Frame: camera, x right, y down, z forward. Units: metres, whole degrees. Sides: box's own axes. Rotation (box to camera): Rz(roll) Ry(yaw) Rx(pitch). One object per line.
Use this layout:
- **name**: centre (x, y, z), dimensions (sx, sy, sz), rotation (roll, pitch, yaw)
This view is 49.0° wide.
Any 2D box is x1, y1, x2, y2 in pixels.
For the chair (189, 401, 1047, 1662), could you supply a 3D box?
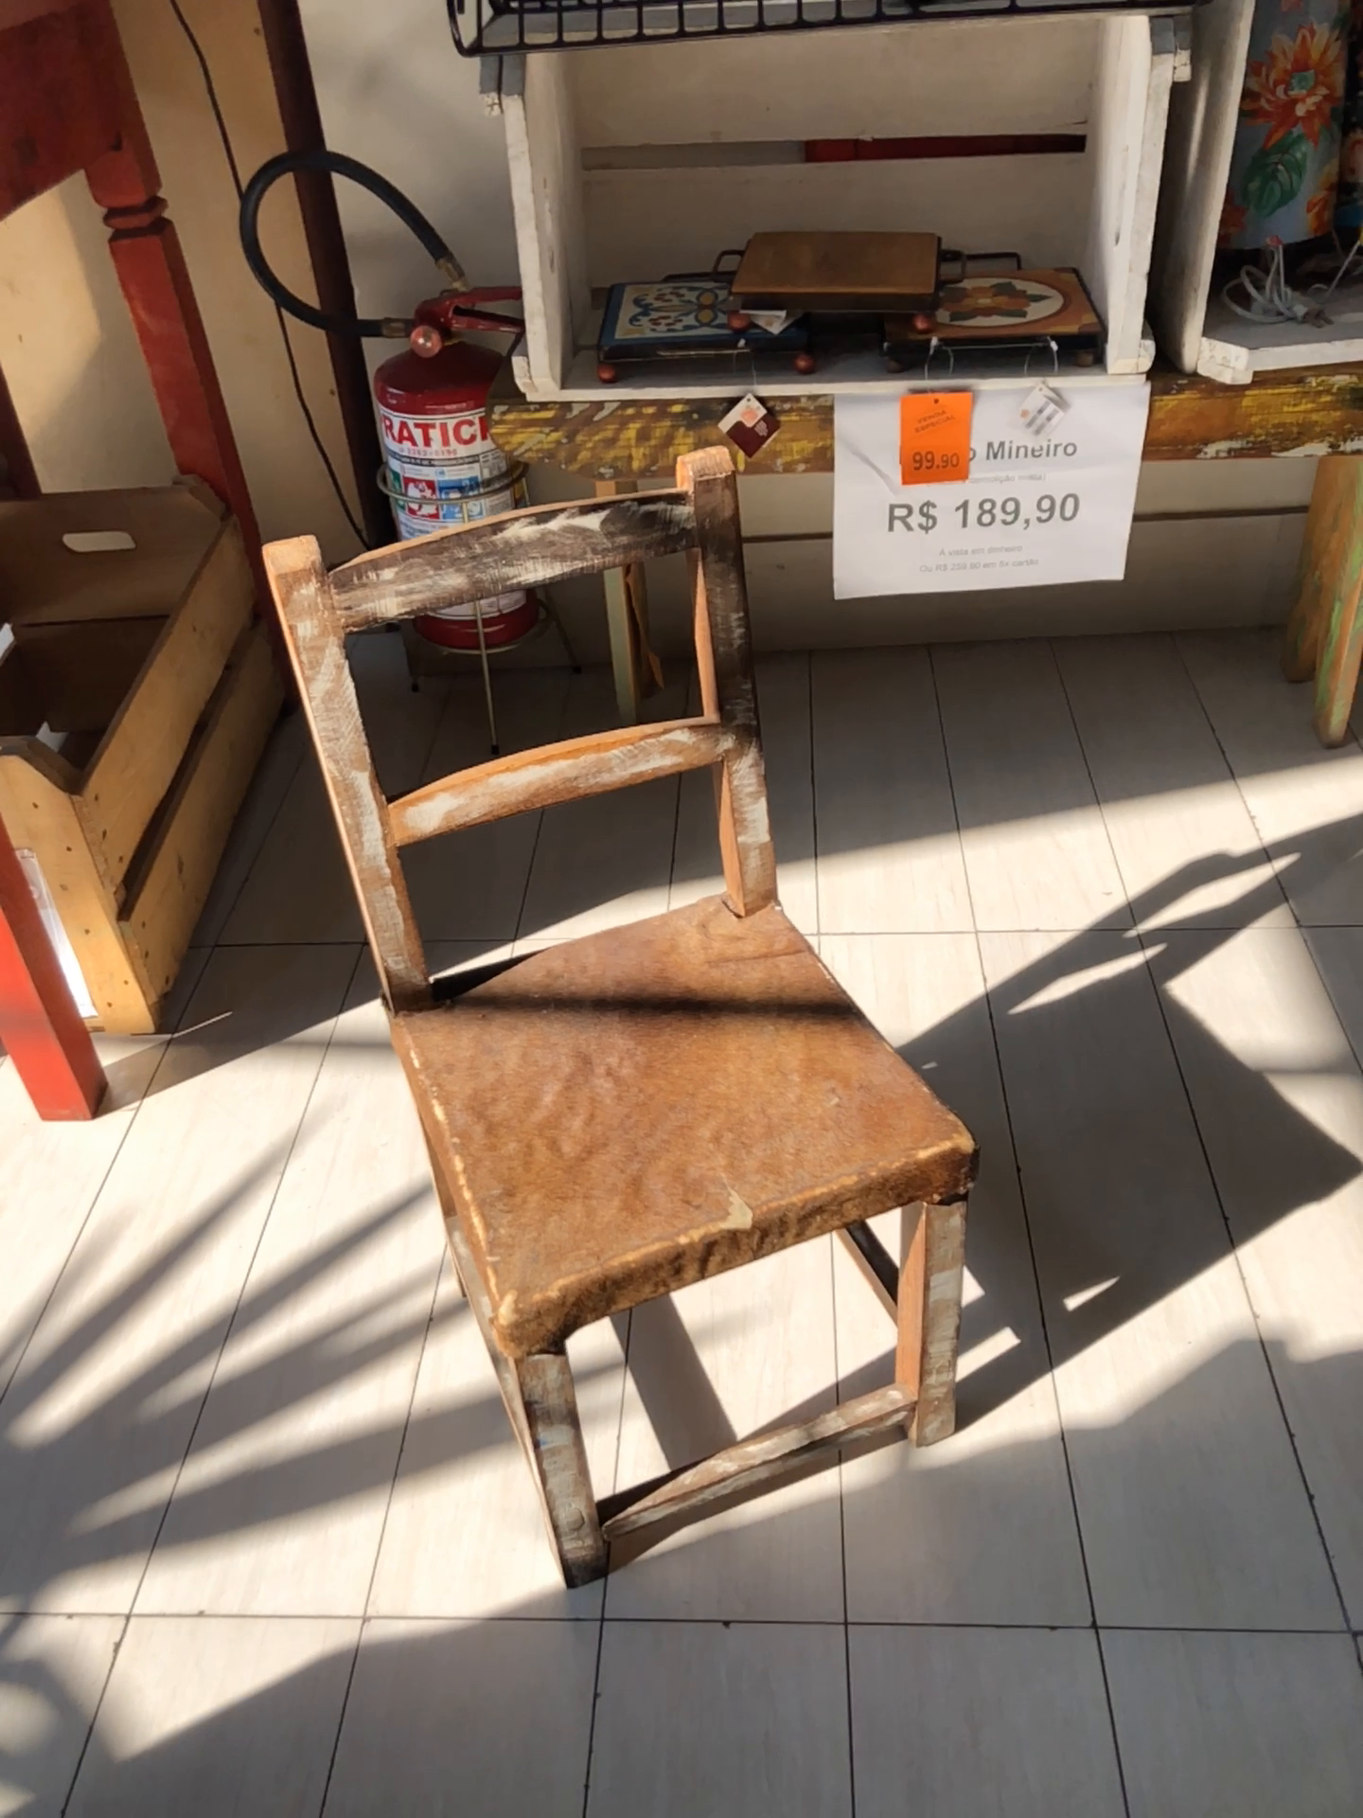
- **chair**: centre (-0.033, 0.075, 0.885), dimensions (0.301, 0.596, 0.342), rotation (-18, 39, -17)
